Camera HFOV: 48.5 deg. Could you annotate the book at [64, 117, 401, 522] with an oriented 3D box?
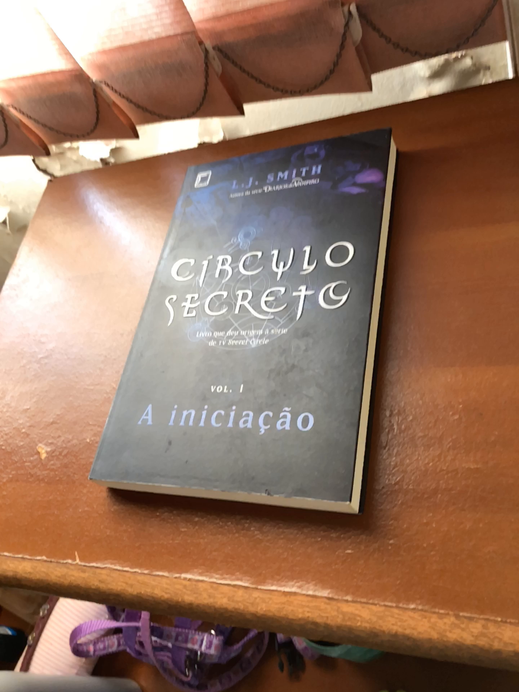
[{"bbox_3d":[-0.006,-0.025,0.305,0.140,0.024,0.214,-2,60,24],"label":"book"}]
